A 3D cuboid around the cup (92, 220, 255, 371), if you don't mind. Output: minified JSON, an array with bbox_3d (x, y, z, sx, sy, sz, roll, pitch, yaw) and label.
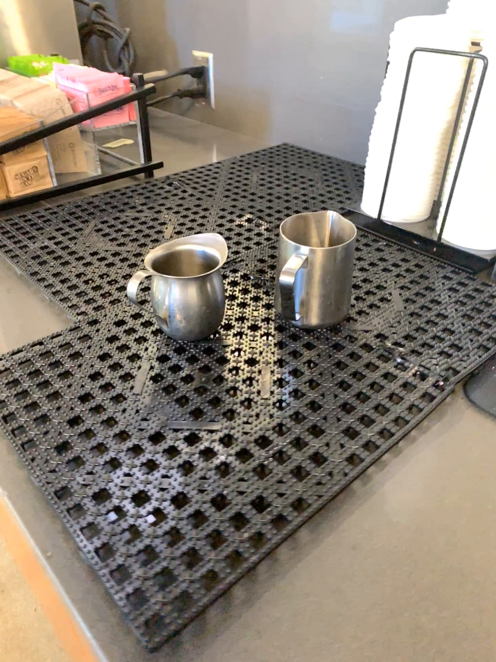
[{"bbox_3d":[-0.060,-0.037,0.455,0.080,0.070,0.120,21,40,26],"label":"cup"}]

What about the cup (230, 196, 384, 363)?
[{"bbox_3d":[0.052,-0.050,0.435,0.080,0.080,0.120,19,40,25],"label":"cup"}]
